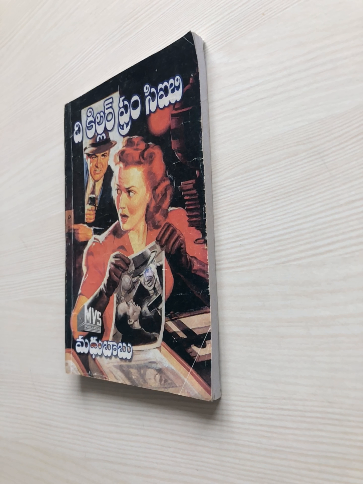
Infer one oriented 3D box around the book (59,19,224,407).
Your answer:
[{"bbox_3d":[-0.027,-0.011,0.202,0.100,0.012,0.160,-8,81,40],"label":"book"}]
